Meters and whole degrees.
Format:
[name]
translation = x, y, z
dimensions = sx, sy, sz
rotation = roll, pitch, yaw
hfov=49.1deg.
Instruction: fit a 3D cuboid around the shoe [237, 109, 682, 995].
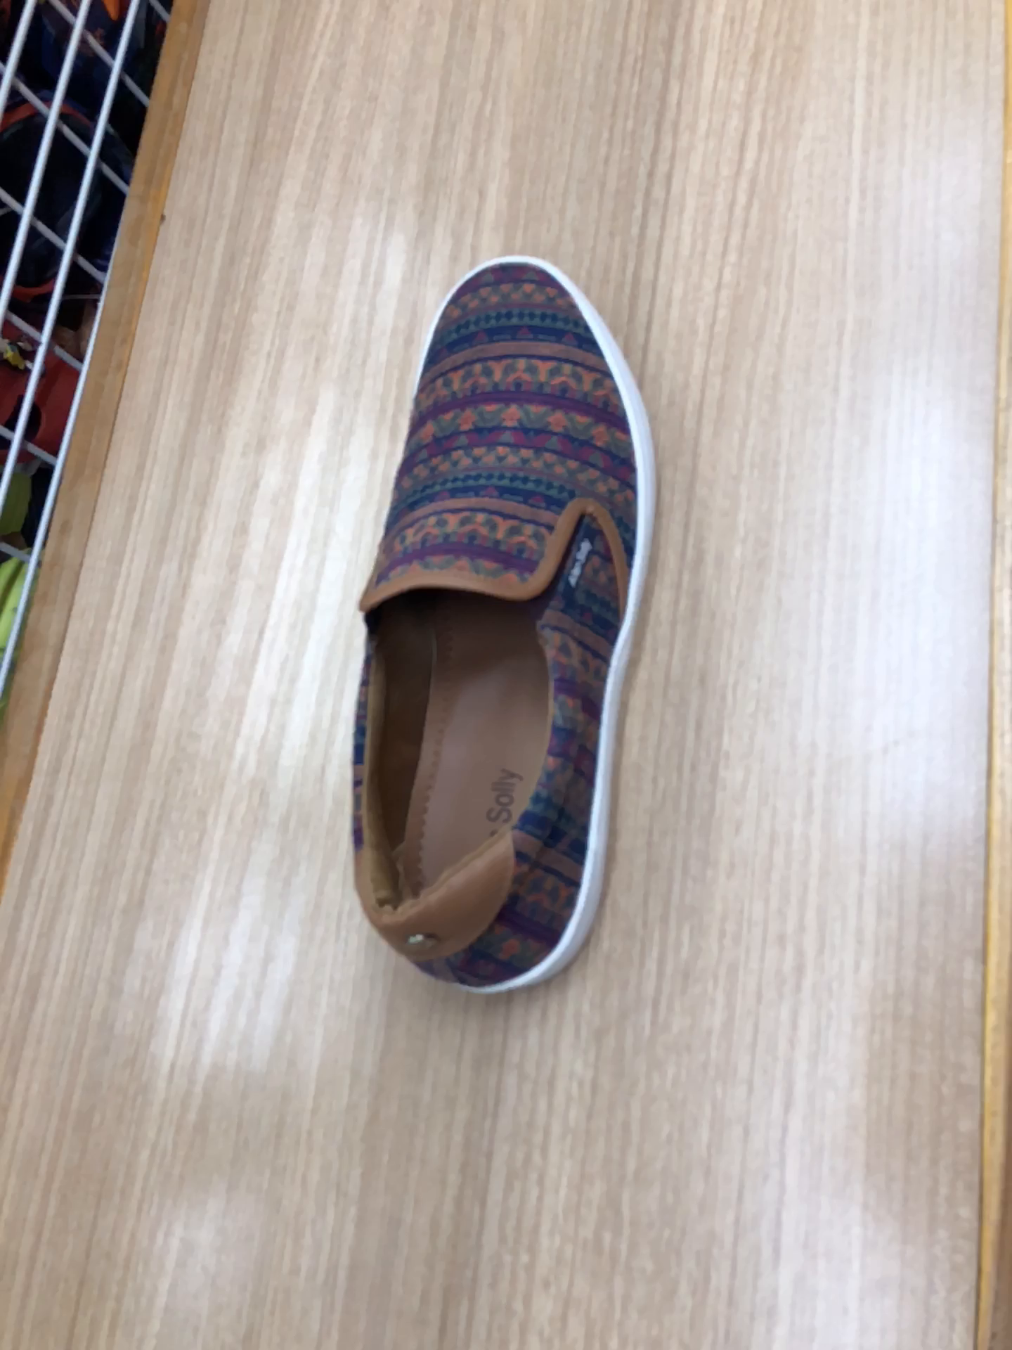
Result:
[shoe]
translation = -0.005, -0.036, 0.376
dimensions = 0.100, 0.090, 0.270
rotation = -2, 74, 22
